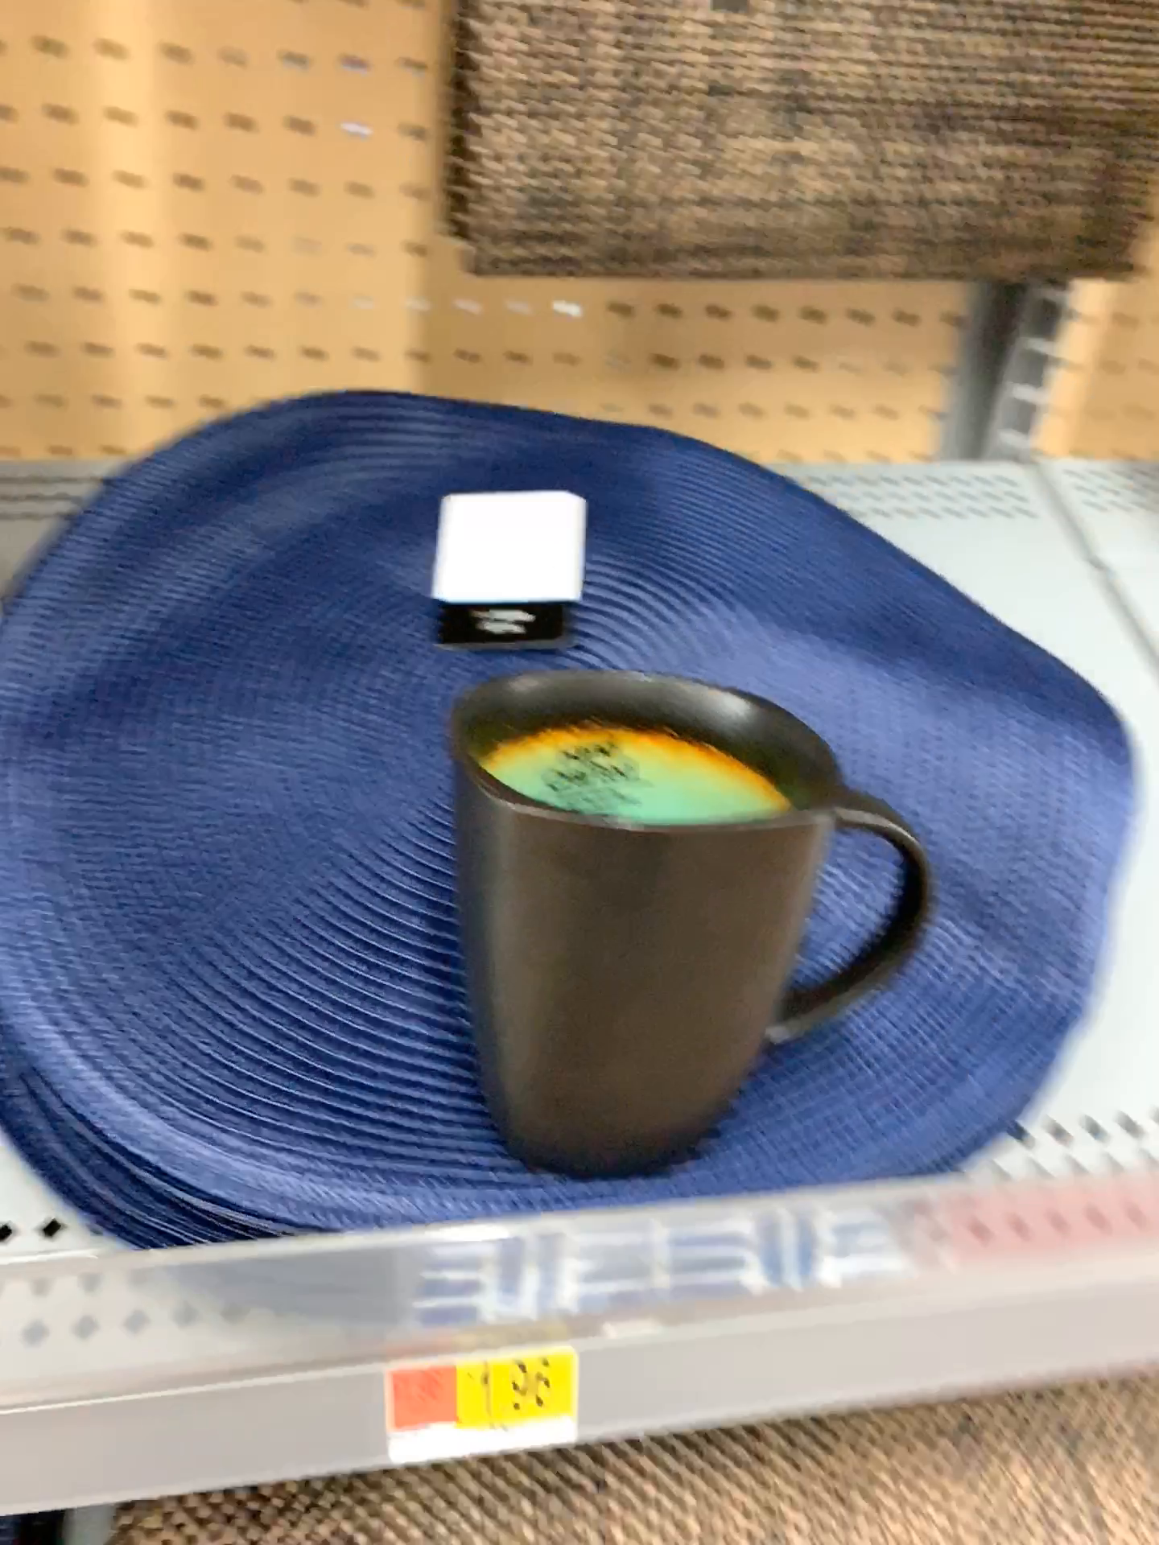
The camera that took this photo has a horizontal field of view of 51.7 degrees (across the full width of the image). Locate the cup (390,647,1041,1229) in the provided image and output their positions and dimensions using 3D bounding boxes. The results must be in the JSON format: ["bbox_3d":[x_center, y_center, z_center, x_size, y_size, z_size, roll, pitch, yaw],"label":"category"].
[{"bbox_3d":[0.022,0.038,0.300,0.130,0.110,0.090,1,28,-5],"label":"cup"}]
